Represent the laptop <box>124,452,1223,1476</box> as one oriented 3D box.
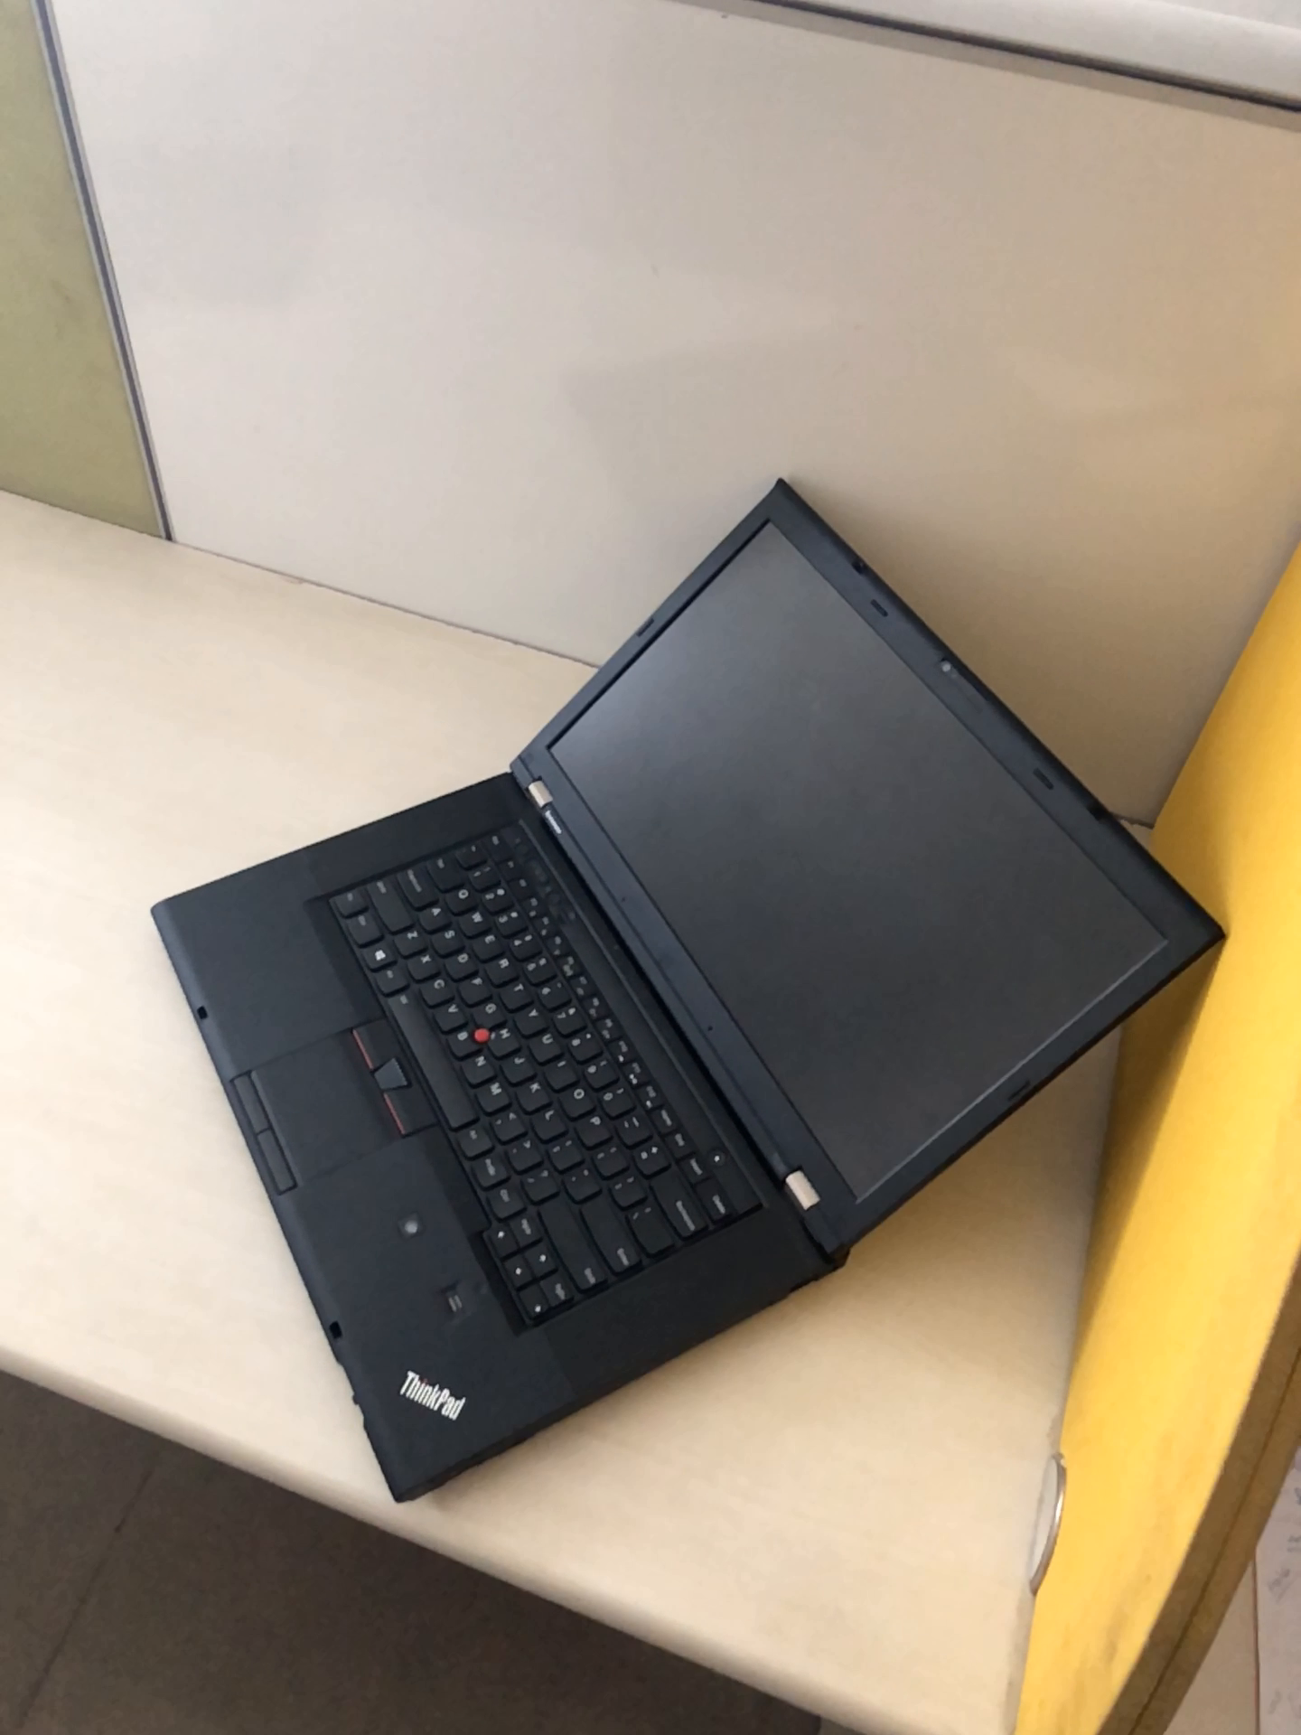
[{"bbox_3d":[-0.004,0.014,0.737,0.418,0.143,0.354,-24,58,-18],"label":"laptop"}]
